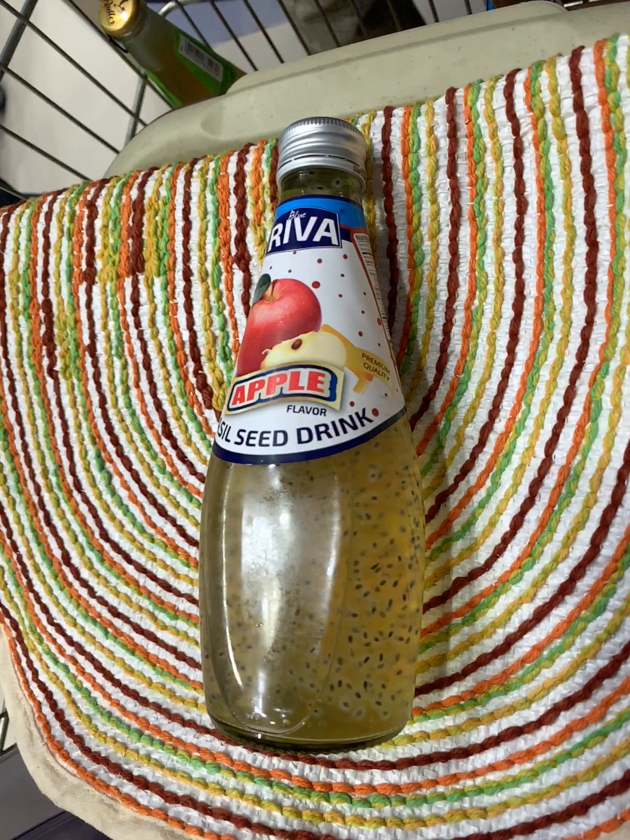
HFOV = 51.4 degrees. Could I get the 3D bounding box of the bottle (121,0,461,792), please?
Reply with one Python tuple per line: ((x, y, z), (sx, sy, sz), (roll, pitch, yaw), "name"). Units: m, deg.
((0.000, -0.014, 0.193), (0.070, 0.050, 0.200), (-1, 78, 26), "bottle")
